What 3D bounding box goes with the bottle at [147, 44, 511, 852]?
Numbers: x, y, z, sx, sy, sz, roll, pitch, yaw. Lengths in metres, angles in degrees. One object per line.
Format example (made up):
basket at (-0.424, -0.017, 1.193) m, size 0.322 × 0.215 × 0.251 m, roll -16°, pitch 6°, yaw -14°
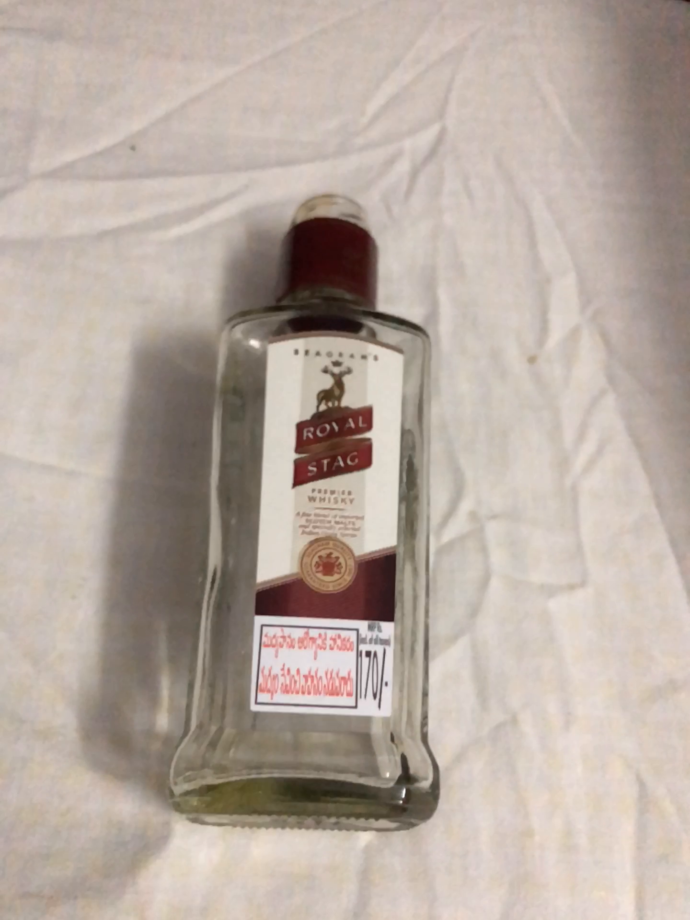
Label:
bottle at (-0.001, -0.010, 0.187) m, size 0.060 × 0.050 × 0.180 m, roll 4°, pitch 67°, yaw -5°
